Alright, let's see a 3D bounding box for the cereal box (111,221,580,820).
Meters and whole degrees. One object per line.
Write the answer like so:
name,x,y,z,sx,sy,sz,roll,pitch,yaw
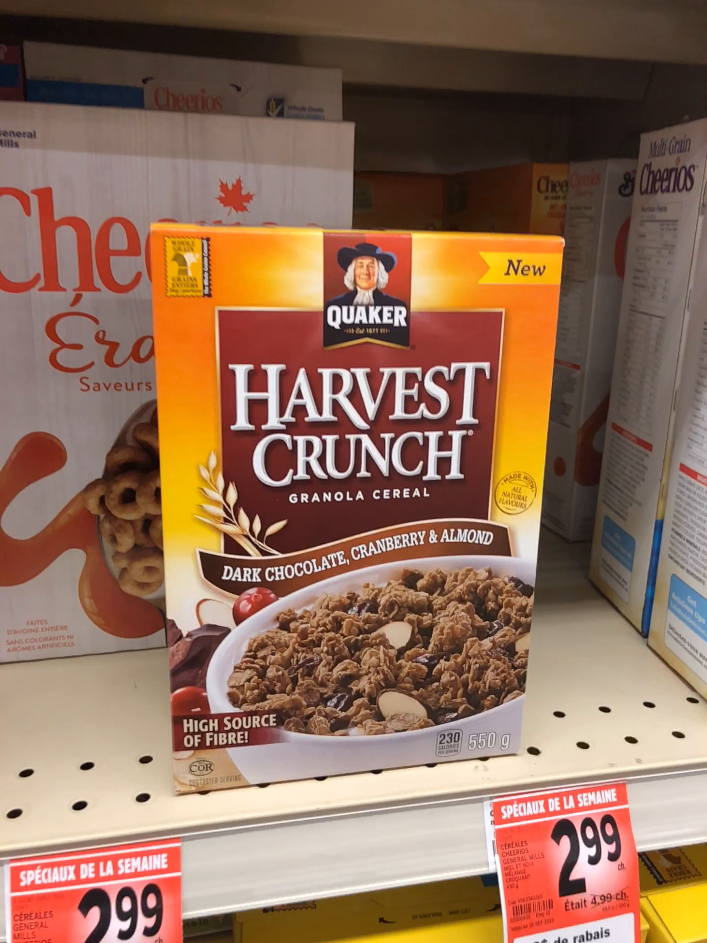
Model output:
cereal box,-0.006,0.019,0.340,0.170,0.239,0.060,-2,16,-11
